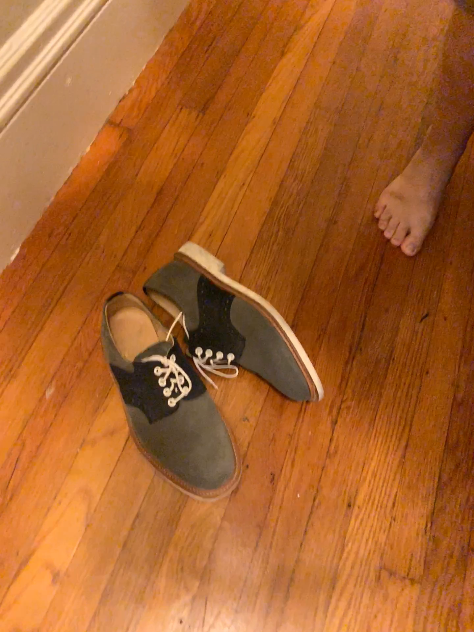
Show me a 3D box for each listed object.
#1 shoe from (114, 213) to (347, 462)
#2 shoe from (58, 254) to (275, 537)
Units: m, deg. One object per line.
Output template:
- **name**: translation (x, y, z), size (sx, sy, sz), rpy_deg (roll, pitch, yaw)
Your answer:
- **shoe**: translation (-0.017, 0.029, 0.666), size (0.120, 0.130, 0.310), rpy_deg (-37, 73, -16)
- **shoe**: translation (-0.093, 0.093, 0.610), size (0.130, 0.100, 0.310), rpy_deg (-25, 70, -15)
